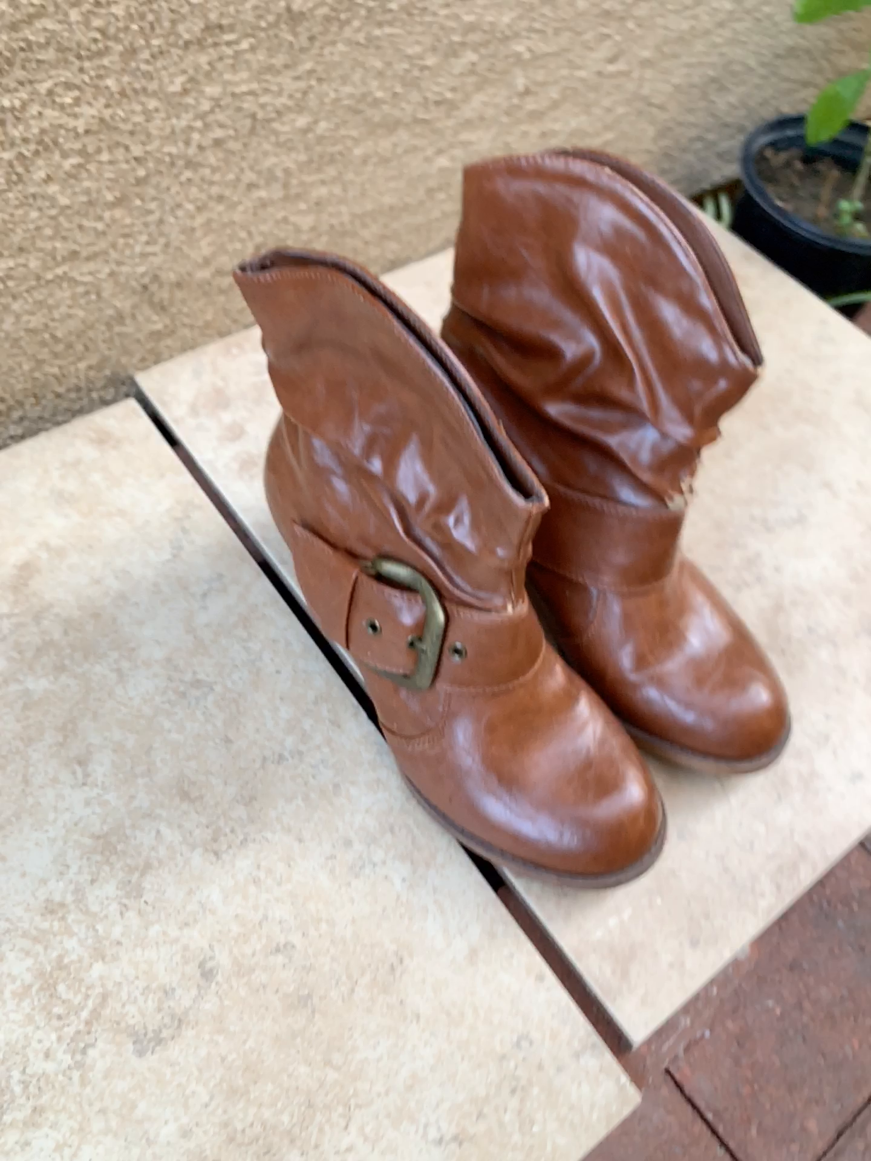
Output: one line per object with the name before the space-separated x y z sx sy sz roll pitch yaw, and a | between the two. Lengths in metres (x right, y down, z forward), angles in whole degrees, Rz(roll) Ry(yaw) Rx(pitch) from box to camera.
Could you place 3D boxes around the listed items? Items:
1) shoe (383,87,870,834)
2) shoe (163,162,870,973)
shoe | 0.096 -0.046 0.398 0.100 0.198 0.245 -32 66 -24
shoe | 0.019 0.004 0.355 0.096 0.198 0.245 -36 68 -26
